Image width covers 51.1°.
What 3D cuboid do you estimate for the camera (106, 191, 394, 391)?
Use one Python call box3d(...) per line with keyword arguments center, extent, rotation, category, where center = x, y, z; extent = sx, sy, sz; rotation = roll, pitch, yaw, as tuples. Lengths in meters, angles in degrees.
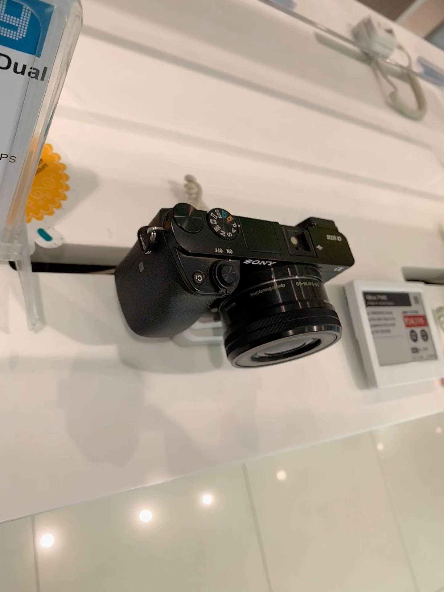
box3d(center=(0.012, 0.001, 0.212), extent=(0.104, 0.063, 0.058), rotation=(0, 68, -35), category="camera")
